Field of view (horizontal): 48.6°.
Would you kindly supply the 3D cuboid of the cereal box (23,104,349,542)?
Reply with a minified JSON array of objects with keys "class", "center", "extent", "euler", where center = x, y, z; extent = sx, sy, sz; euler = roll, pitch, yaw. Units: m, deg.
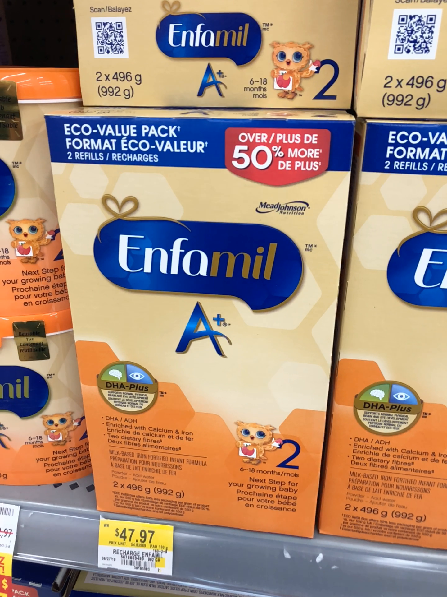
[{"class":"cereal box","center":[-0.015,0.017,0.294],"extent":[0.140,0.238,0.081],"euler":[4,25,6]}]
